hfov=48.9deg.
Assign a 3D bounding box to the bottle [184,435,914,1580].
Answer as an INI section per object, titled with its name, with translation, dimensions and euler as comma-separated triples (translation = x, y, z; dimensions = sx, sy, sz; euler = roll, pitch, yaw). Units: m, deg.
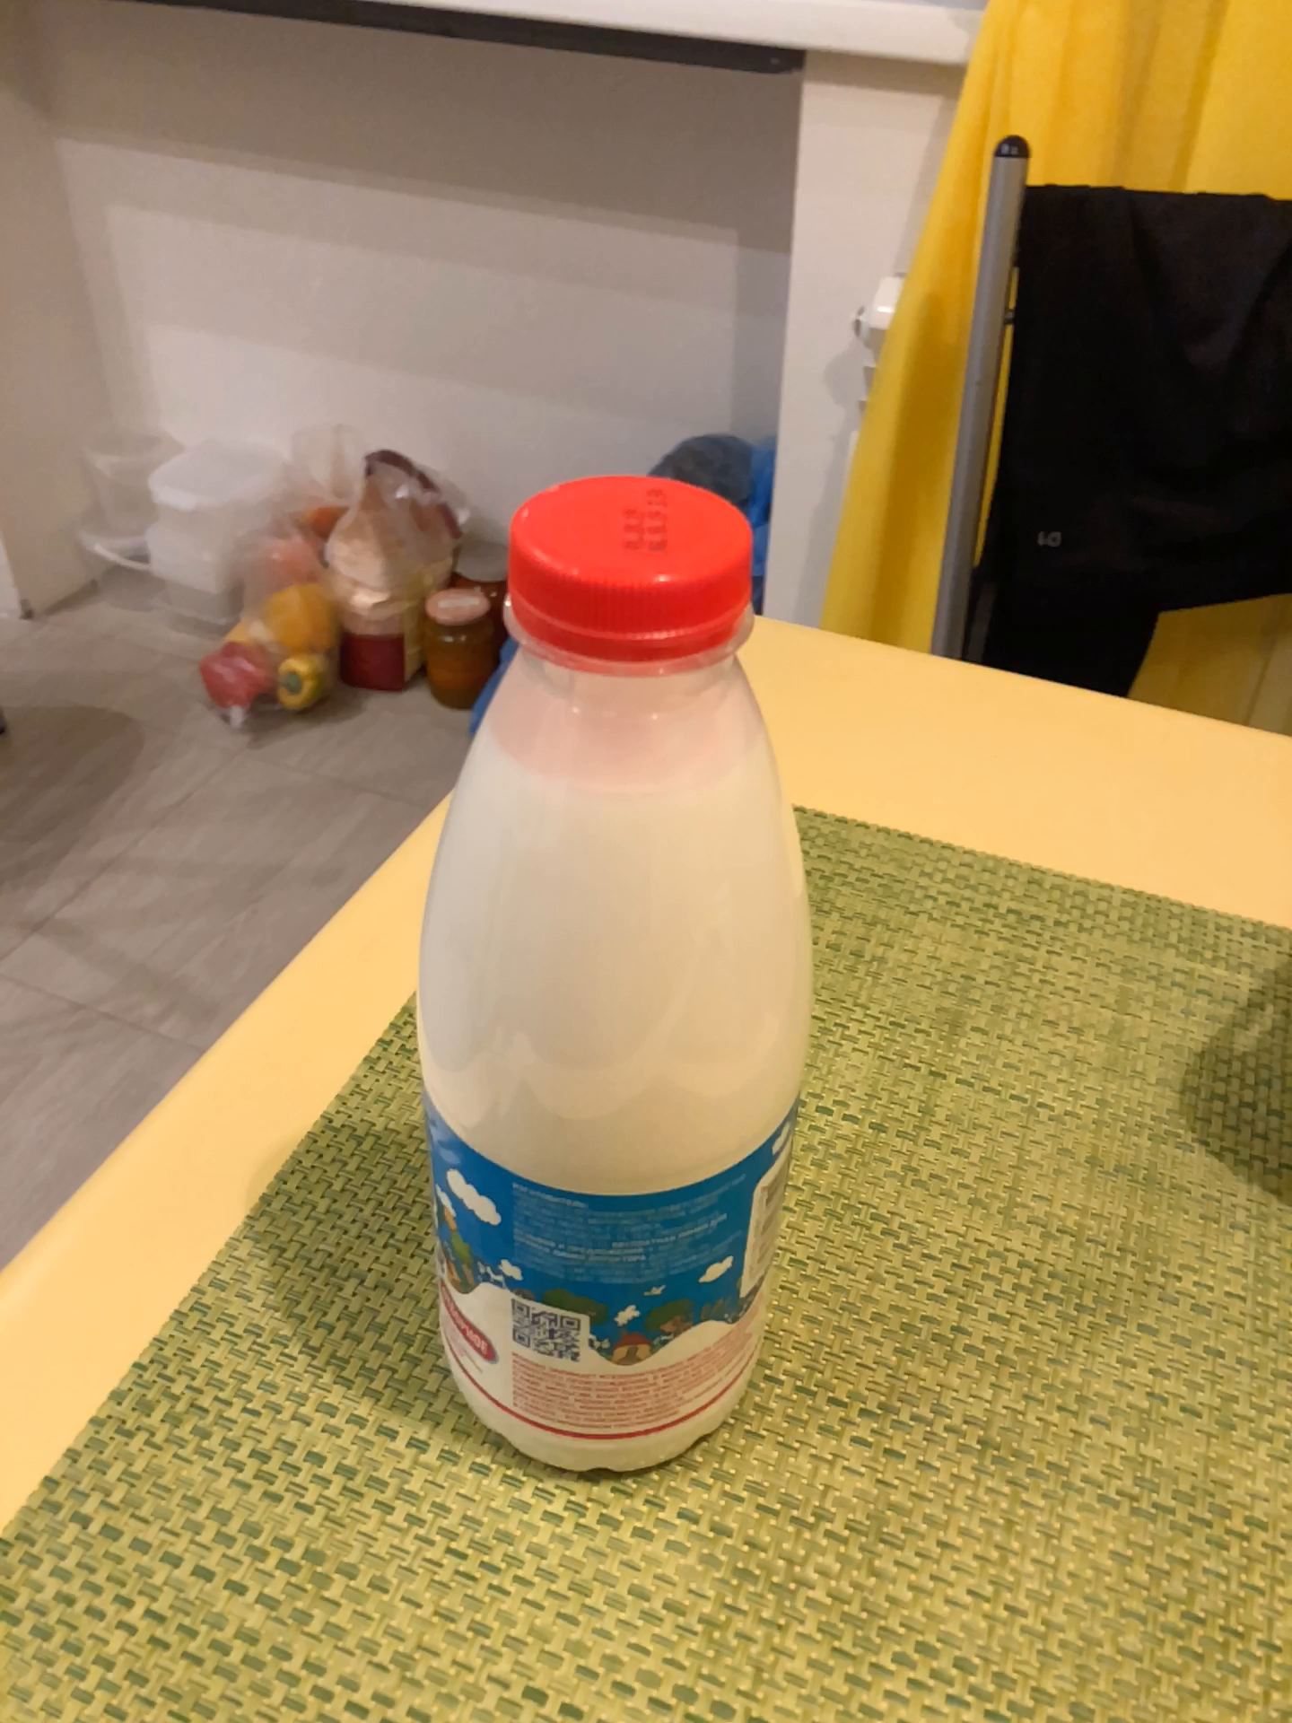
[bottle]
translation = -0.012, 0.040, 0.296
dimensions = 0.090, 0.218, 0.091
euler = 1, 39, -1
